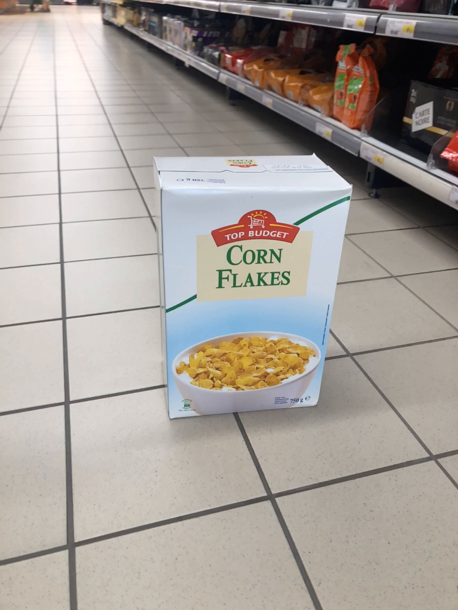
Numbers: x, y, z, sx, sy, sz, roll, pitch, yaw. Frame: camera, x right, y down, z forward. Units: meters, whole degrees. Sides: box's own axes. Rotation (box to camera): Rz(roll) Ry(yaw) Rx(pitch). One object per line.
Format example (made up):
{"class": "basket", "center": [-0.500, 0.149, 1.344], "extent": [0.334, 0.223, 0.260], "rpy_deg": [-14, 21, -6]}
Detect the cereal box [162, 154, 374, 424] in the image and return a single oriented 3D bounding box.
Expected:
{"class": "cereal box", "center": [0.026, -0.017, 0.598], "extent": [0.200, 0.288, 0.121], "rpy_deg": [-2, 31, -10]}
